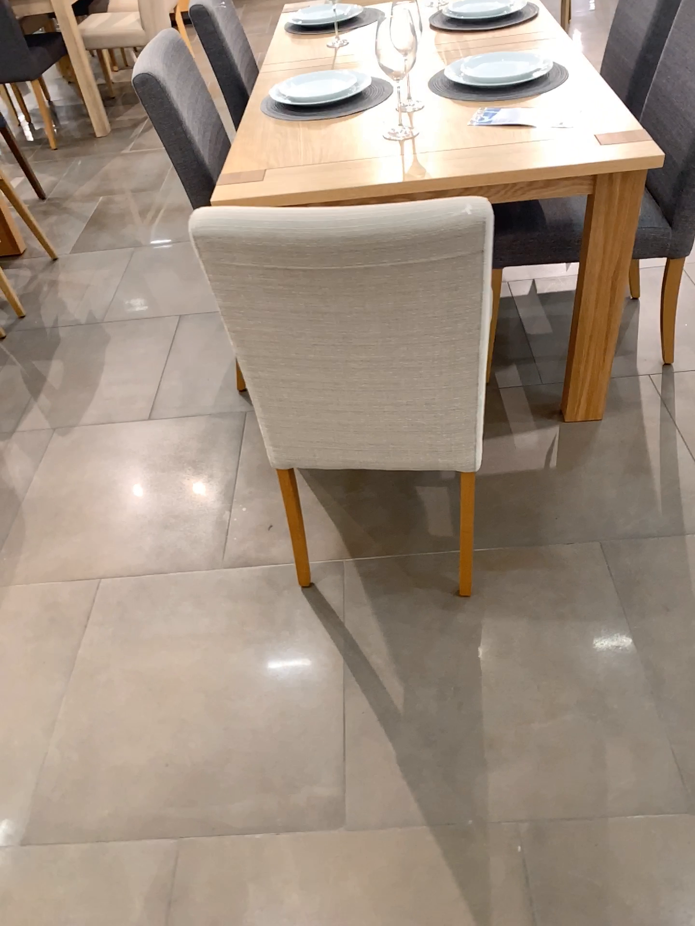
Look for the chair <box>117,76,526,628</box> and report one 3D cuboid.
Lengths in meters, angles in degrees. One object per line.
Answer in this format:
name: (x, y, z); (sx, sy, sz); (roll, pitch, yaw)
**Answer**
chair: (0.045, -0.205, 1.414); (0.536, 0.838, 0.648); (1, 43, 11)
